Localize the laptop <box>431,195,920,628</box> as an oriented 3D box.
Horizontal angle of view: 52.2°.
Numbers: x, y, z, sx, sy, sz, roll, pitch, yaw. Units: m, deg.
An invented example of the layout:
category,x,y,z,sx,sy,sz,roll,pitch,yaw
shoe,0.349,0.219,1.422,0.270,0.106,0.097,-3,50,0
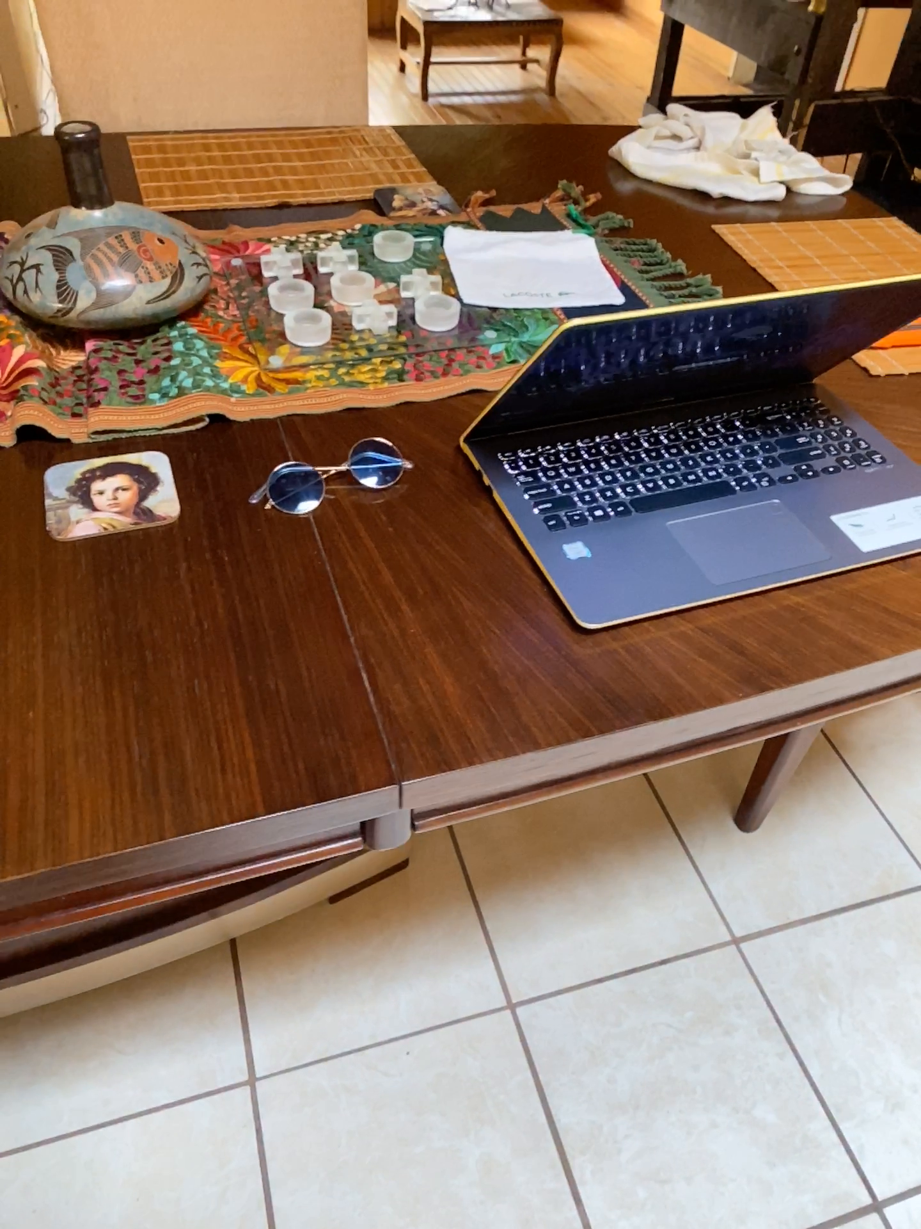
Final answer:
category,x,y,z,sx,sy,sz,roll,pitch,yaw
laptop,0.199,-0.180,0.748,0.377,0.181,0.251,-13,47,-18
